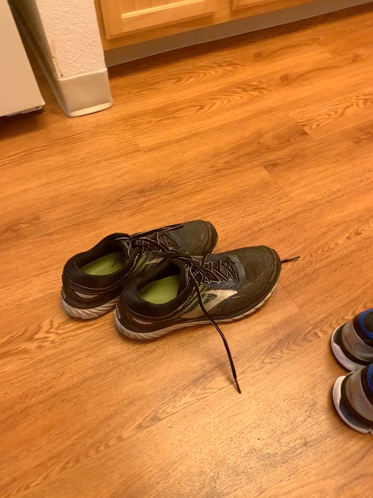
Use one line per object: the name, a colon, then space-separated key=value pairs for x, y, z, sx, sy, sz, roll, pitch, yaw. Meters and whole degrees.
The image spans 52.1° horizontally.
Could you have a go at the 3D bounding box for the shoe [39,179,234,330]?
shoe: x=-0.078 y=0.005 z=0.680 sx=0.310 sy=0.120 sz=0.100 roll=-26 pitch=57 yaw=-17

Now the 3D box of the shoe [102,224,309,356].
shoe: x=0.030 y=0.068 z=0.650 sx=0.310 sy=0.120 sz=0.100 roll=-14 pitch=55 yaw=-10
